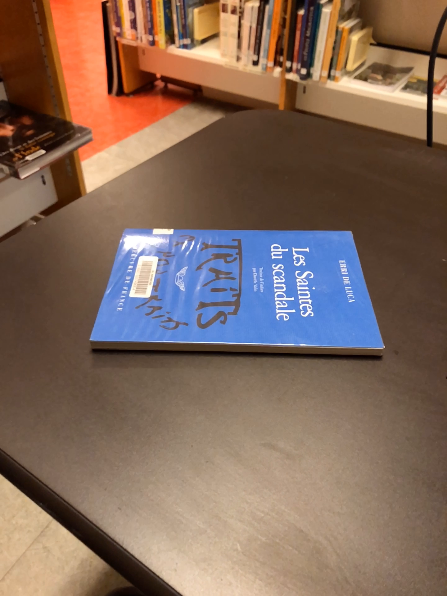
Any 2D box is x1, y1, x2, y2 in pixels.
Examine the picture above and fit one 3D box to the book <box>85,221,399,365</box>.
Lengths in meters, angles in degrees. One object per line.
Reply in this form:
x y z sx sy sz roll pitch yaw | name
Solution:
0.014 -0.011 0.396 0.215 0.017 0.145 2 42 0 | book
